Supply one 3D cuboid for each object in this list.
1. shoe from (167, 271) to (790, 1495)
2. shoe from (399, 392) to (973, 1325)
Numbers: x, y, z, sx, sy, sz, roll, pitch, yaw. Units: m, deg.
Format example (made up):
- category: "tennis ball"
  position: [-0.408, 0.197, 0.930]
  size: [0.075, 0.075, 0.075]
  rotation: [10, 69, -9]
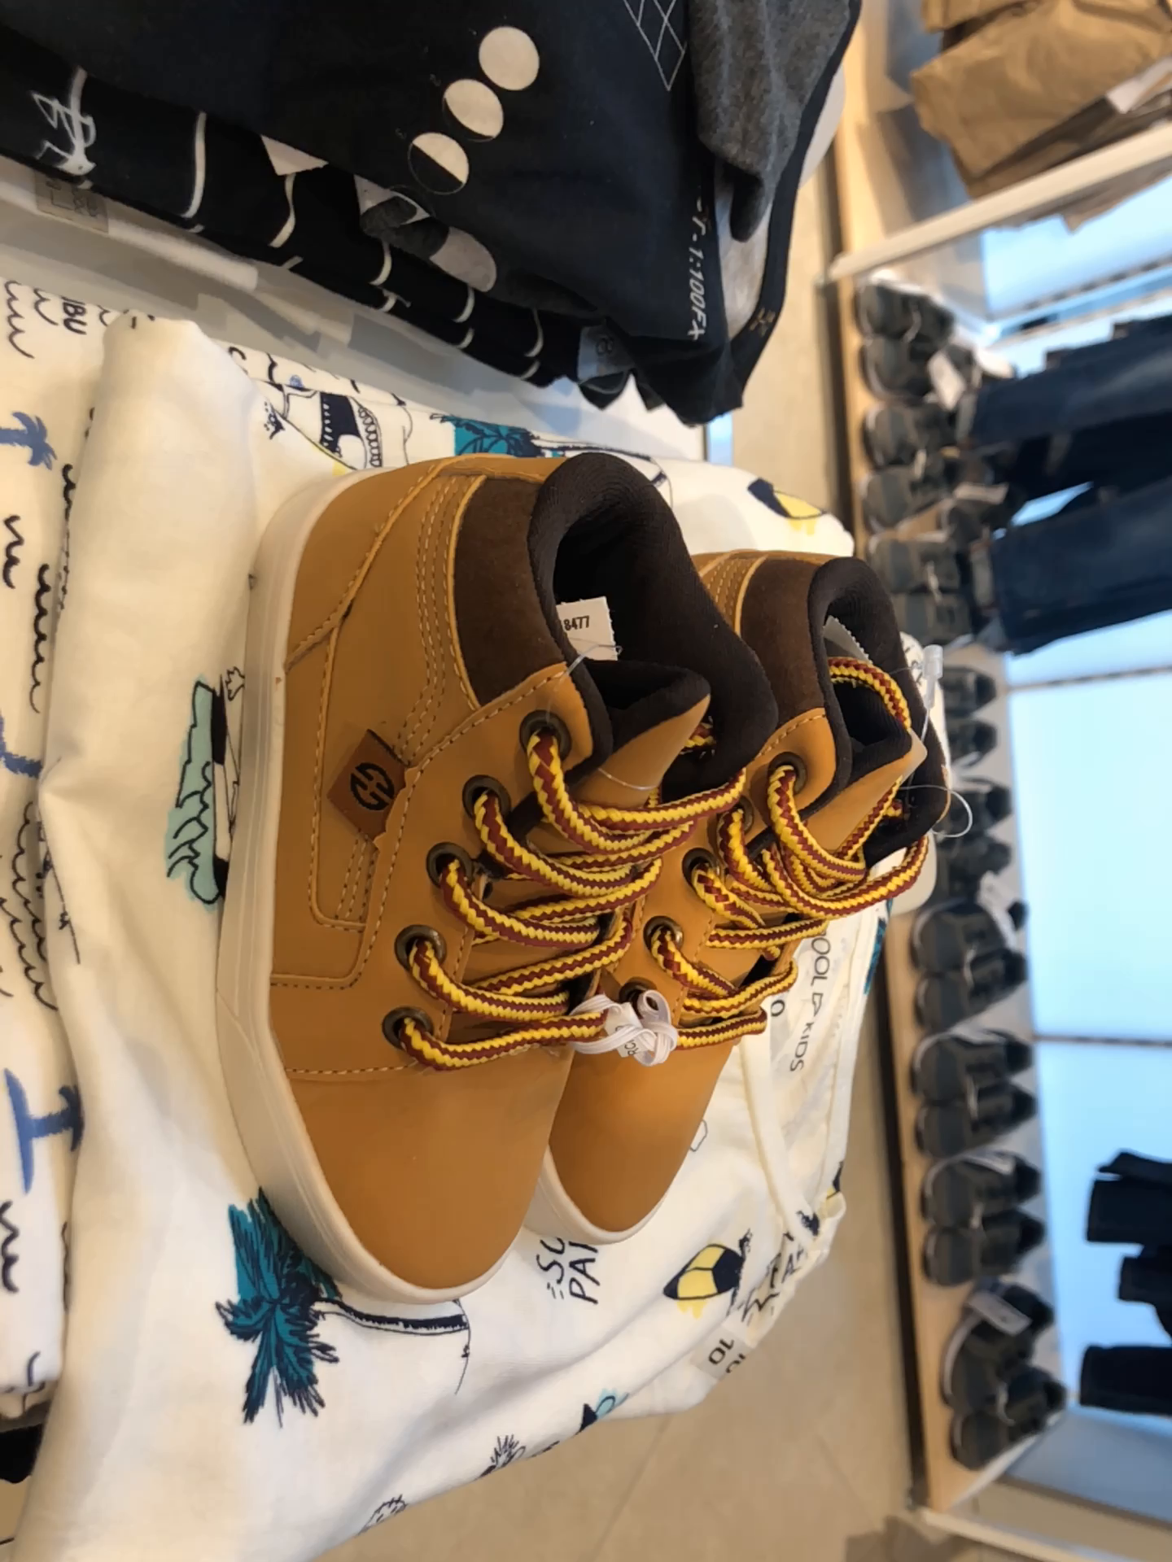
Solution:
- category: "shoe"
  position: [-0.020, 0.014, 0.237]
  size: [0.070, 0.089, 0.170]
  rotation: [1, 89, -47]
- category: "shoe"
  position: [0.024, 0.017, 0.291]
  size: [0.070, 0.089, 0.170]
  rotation: [15, 77, -45]
